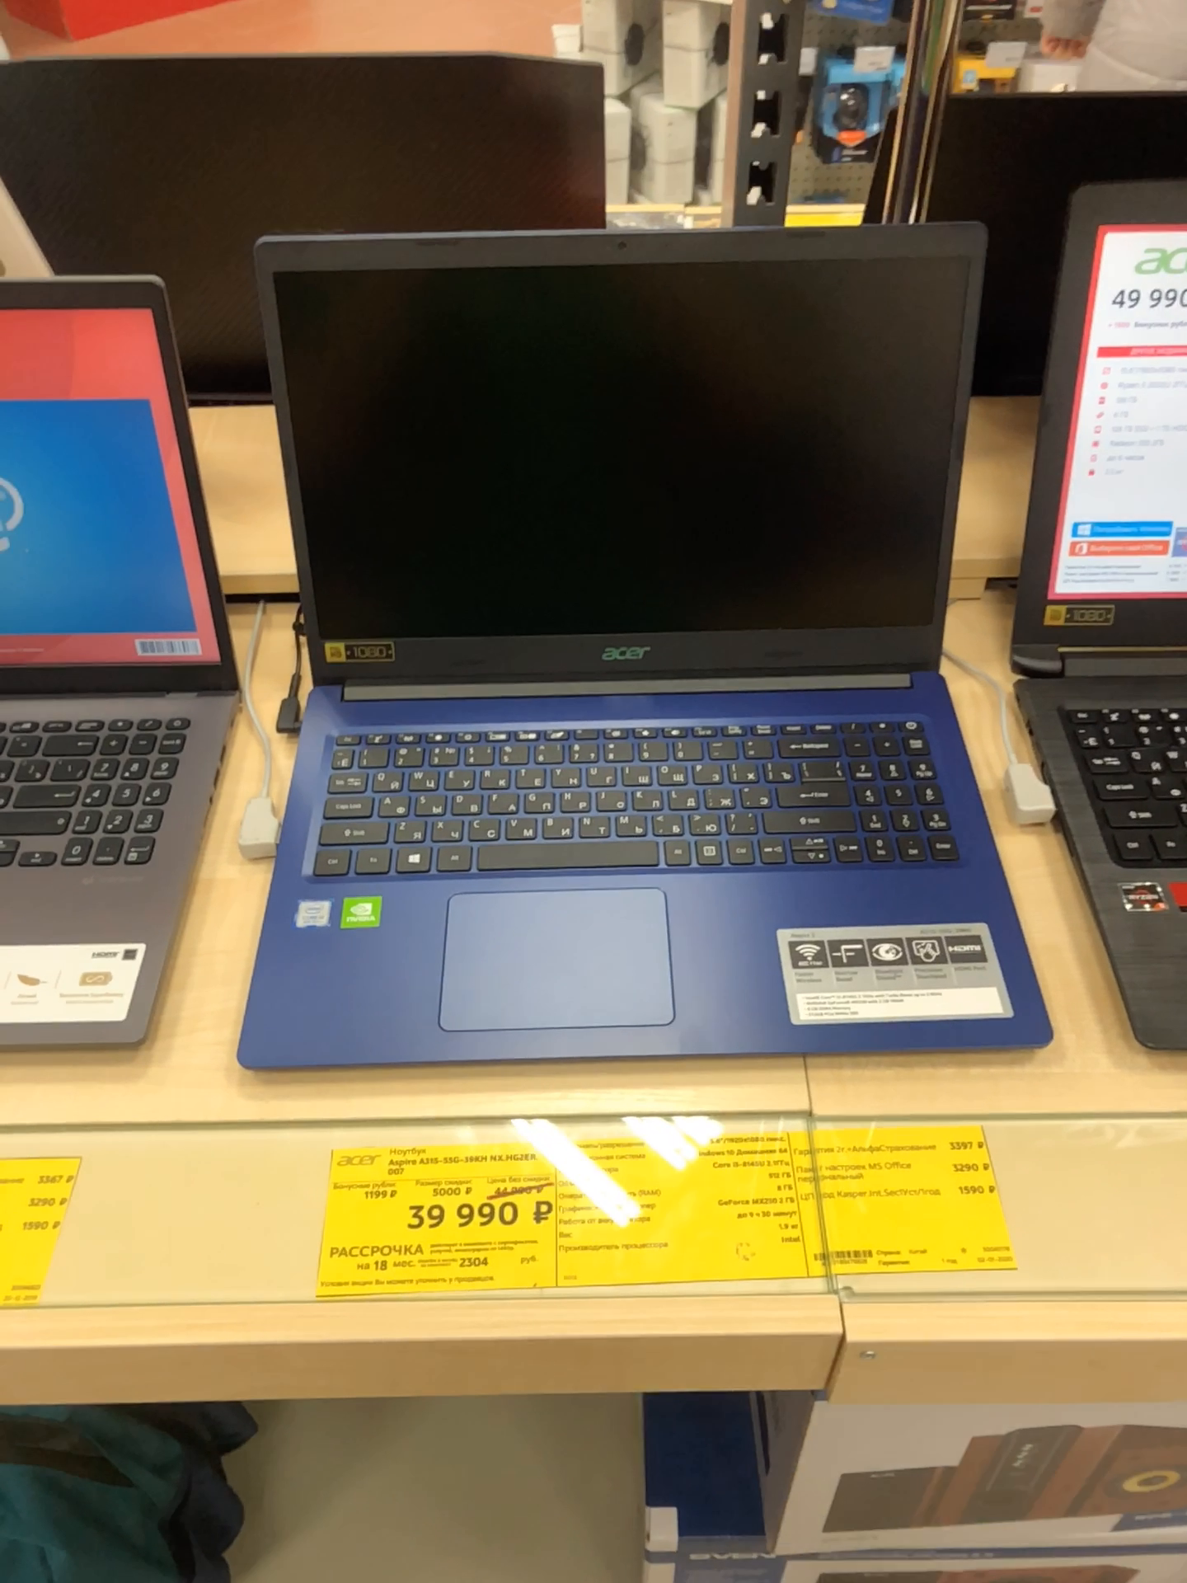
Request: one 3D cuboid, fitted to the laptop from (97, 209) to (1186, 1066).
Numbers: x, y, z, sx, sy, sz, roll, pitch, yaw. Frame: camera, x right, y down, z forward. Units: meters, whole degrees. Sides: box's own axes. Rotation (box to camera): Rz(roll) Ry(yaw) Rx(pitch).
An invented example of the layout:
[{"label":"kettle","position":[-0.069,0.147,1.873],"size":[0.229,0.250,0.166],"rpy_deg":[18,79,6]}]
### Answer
[{"label":"laptop","position":[0.015,-0.083,0.612],"size":[0.357,0.221,0.328],"rpy_deg":[-1,46,0]}]
